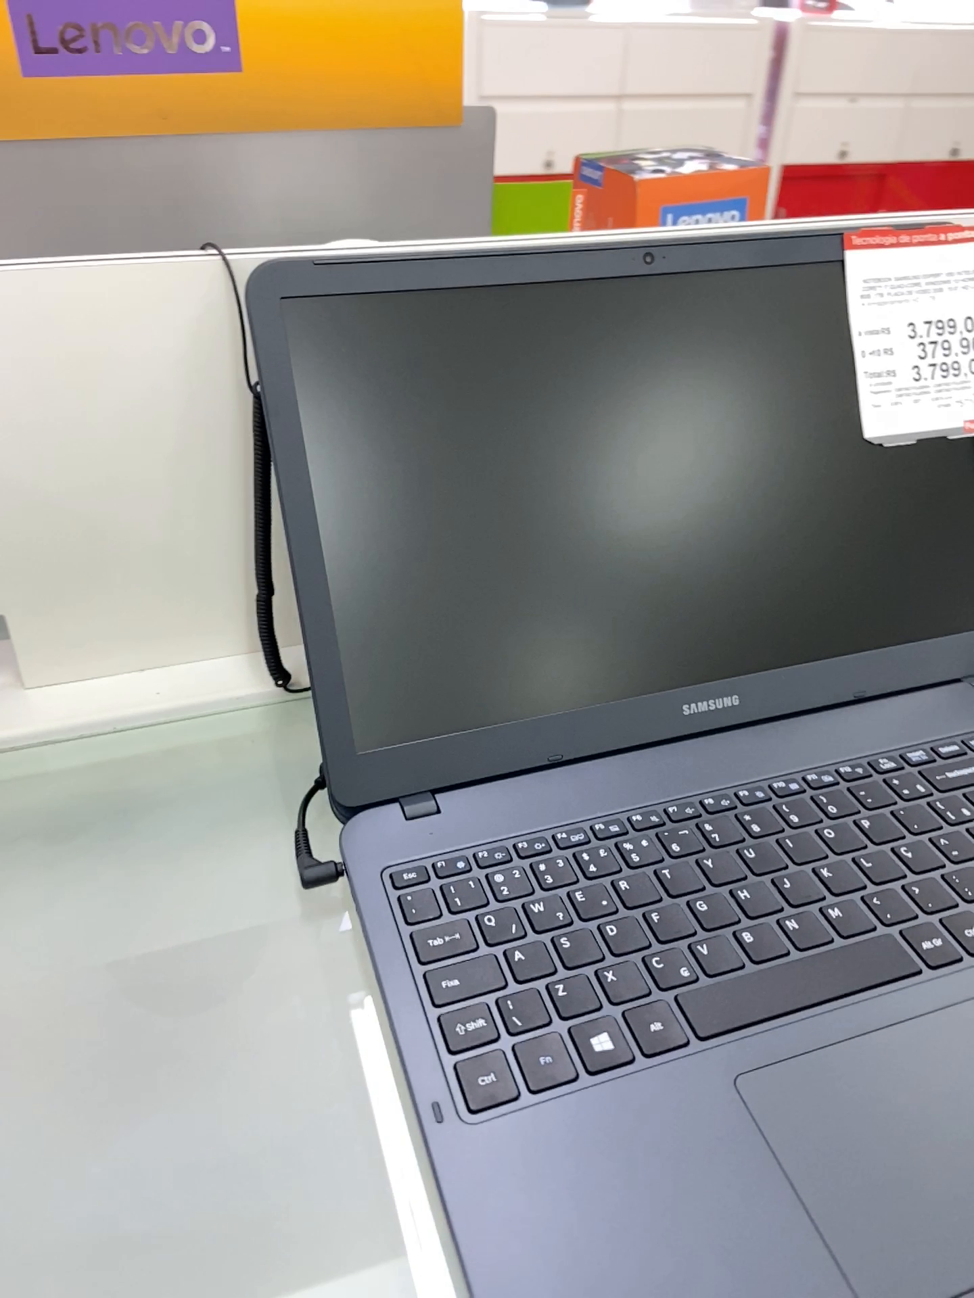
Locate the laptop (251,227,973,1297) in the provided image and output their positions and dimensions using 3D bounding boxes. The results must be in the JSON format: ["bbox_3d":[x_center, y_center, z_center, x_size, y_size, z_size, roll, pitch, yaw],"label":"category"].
[{"bbox_3d":[0.134,-0.009,0.376,0.371,0.192,0.370,-10,35,-16],"label":"laptop"}]
